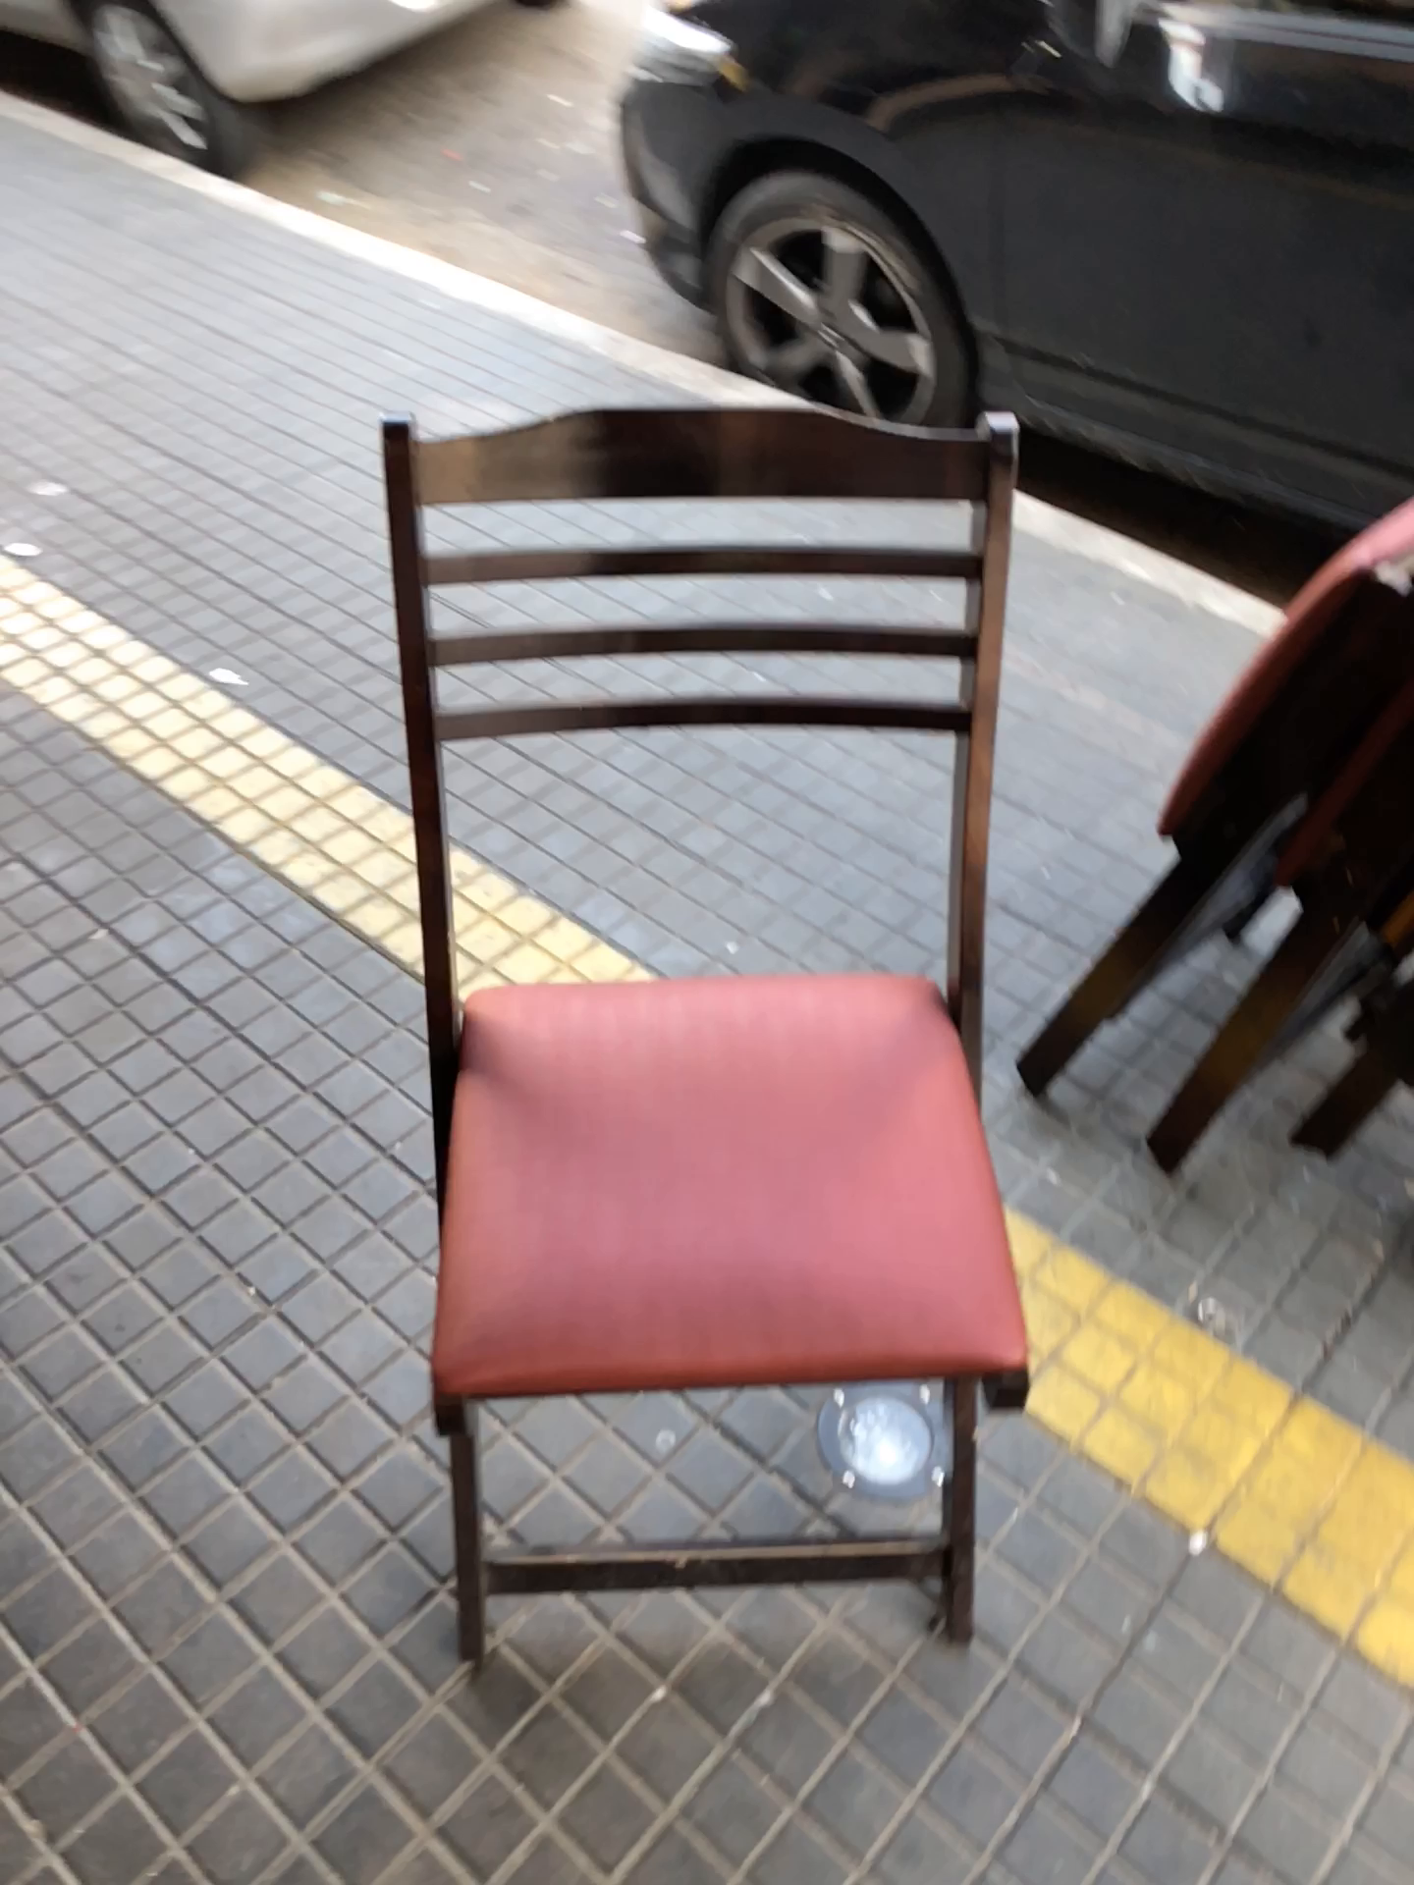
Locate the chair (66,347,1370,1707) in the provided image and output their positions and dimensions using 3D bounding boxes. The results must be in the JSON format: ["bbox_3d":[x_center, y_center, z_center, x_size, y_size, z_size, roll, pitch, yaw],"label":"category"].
[{"bbox_3d":[-0.009,0.107,1.068,0.510,0.844,0.483,-2,44,-3],"label":"chair"}]
